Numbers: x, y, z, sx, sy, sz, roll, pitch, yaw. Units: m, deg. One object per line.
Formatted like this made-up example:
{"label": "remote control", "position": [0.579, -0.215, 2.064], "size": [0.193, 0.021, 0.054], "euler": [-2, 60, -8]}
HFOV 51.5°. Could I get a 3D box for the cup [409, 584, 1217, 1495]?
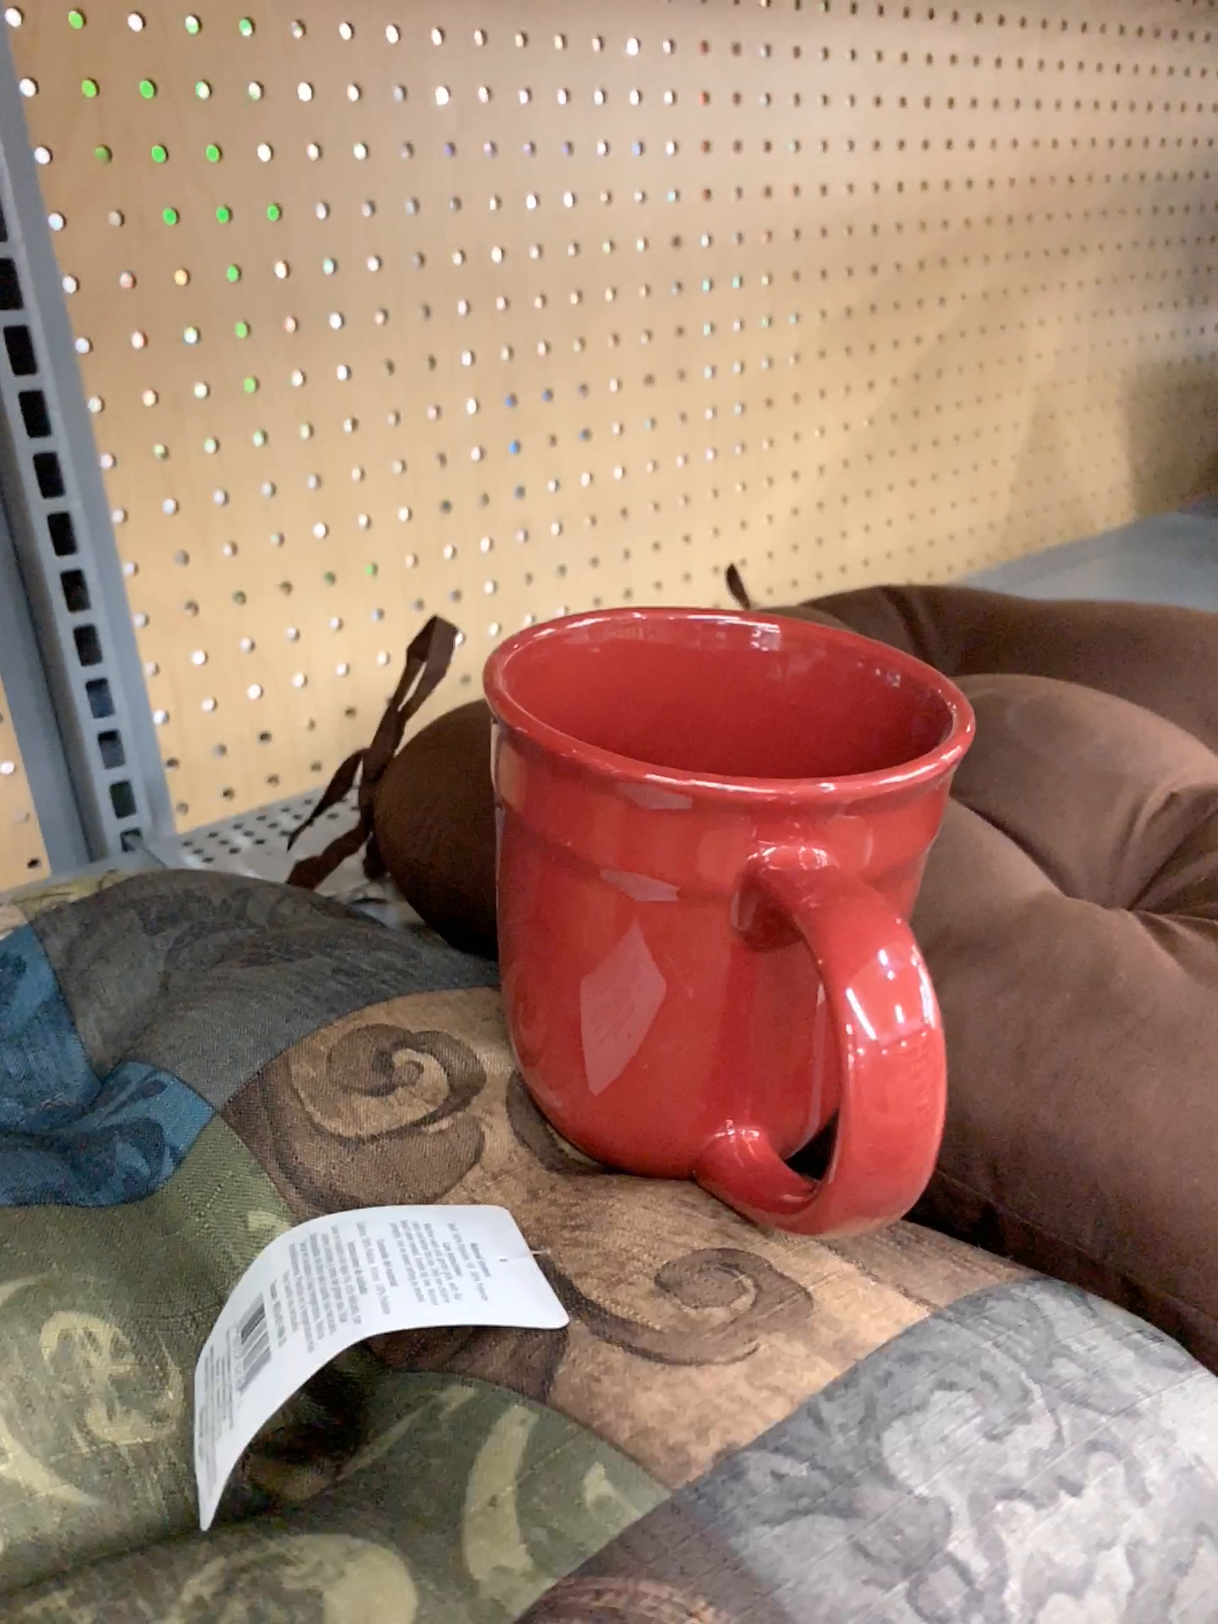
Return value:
{"label": "cup", "position": [0.022, 0.022, 0.241], "size": [0.100, 0.090, 0.151], "euler": [-3, 27, -16]}
